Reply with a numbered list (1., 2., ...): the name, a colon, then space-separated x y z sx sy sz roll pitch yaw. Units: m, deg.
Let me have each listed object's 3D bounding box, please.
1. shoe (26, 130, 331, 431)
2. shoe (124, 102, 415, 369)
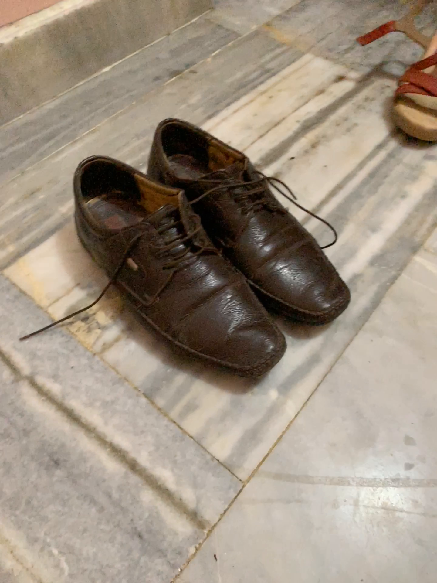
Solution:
1. shoe: -0.048 -0.022 0.425 0.100 0.110 0.283 -37 63 -23
2. shoe: 0.035 -0.069 0.468 0.100 0.110 0.283 -37 63 -23
